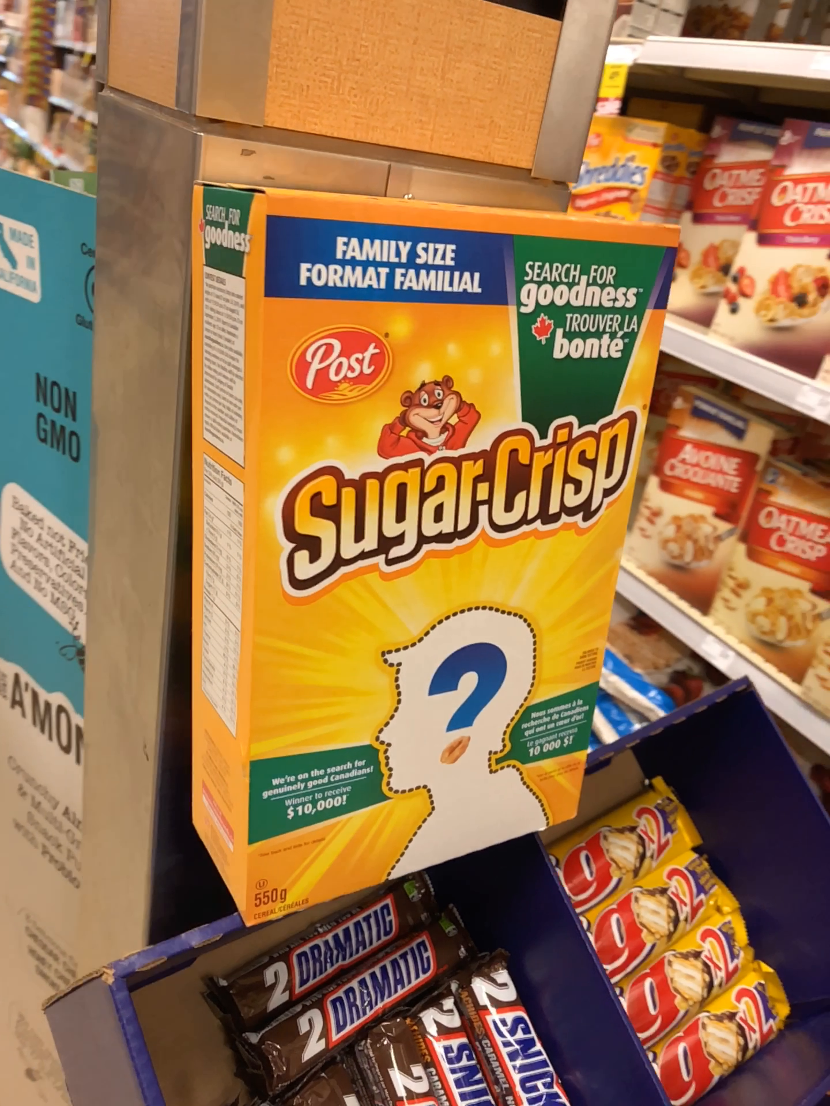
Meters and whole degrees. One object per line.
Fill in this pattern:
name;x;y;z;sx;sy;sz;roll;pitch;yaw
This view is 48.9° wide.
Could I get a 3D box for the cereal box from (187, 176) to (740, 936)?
cereal box;0.015;-0.004;0.425;0.220;0.298;0.080;-7;23;-31
